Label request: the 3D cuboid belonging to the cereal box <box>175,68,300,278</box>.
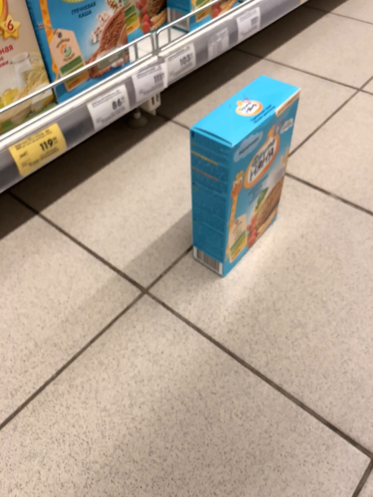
[{"bbox_3d":[0.059,-0.084,0.499,0.060,0.199,0.140,29,57,24],"label":"cereal box"}]
